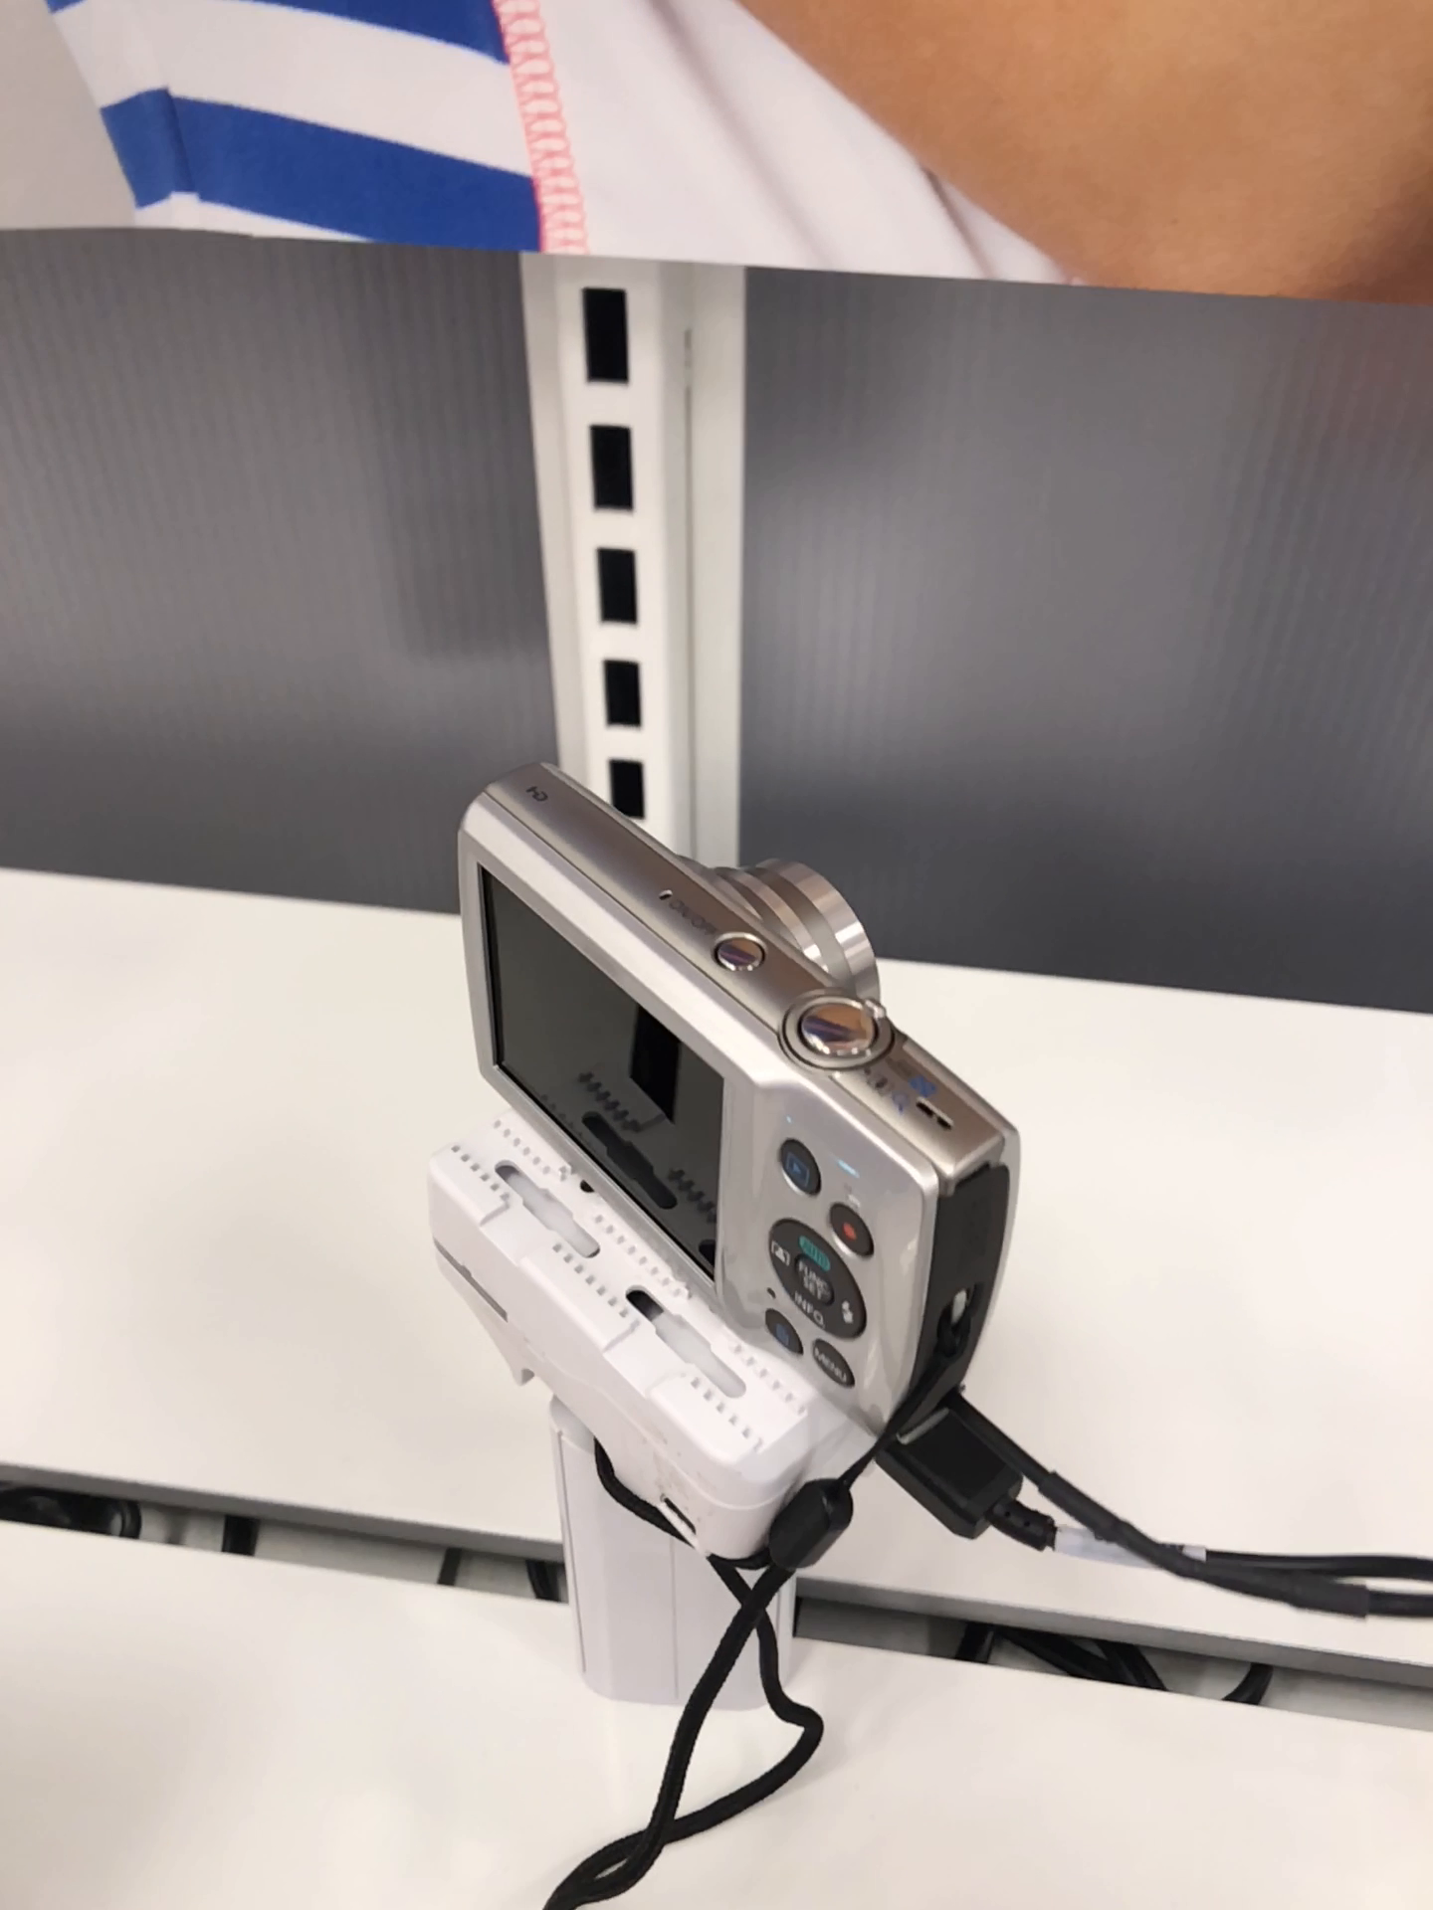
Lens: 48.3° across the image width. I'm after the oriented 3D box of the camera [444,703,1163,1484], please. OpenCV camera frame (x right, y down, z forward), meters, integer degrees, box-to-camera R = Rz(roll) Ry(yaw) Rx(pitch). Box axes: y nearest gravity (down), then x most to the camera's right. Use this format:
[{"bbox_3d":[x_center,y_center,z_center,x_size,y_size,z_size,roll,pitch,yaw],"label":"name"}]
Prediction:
[{"bbox_3d":[0.007,0.015,0.221,0.042,0.055,0.089,-28,49,-29],"label":"camera"}]
